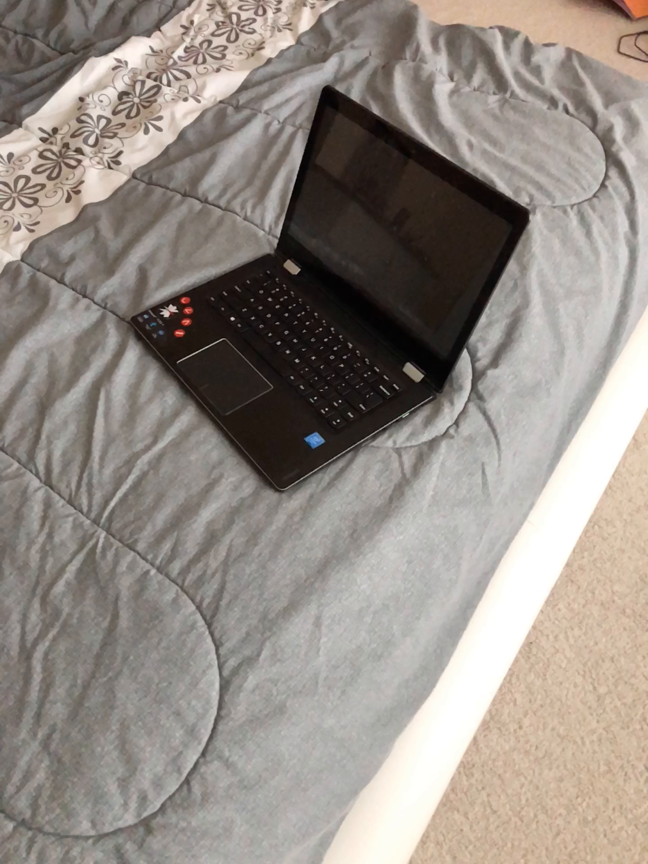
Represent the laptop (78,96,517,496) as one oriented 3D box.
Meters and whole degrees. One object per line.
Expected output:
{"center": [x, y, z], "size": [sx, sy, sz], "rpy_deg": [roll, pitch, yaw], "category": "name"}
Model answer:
{"center": [-0.030, -0.188, 0.895], "size": [0.352, 0.214, 0.362], "rpy_deg": [-32, 60, -21], "category": "laptop"}
